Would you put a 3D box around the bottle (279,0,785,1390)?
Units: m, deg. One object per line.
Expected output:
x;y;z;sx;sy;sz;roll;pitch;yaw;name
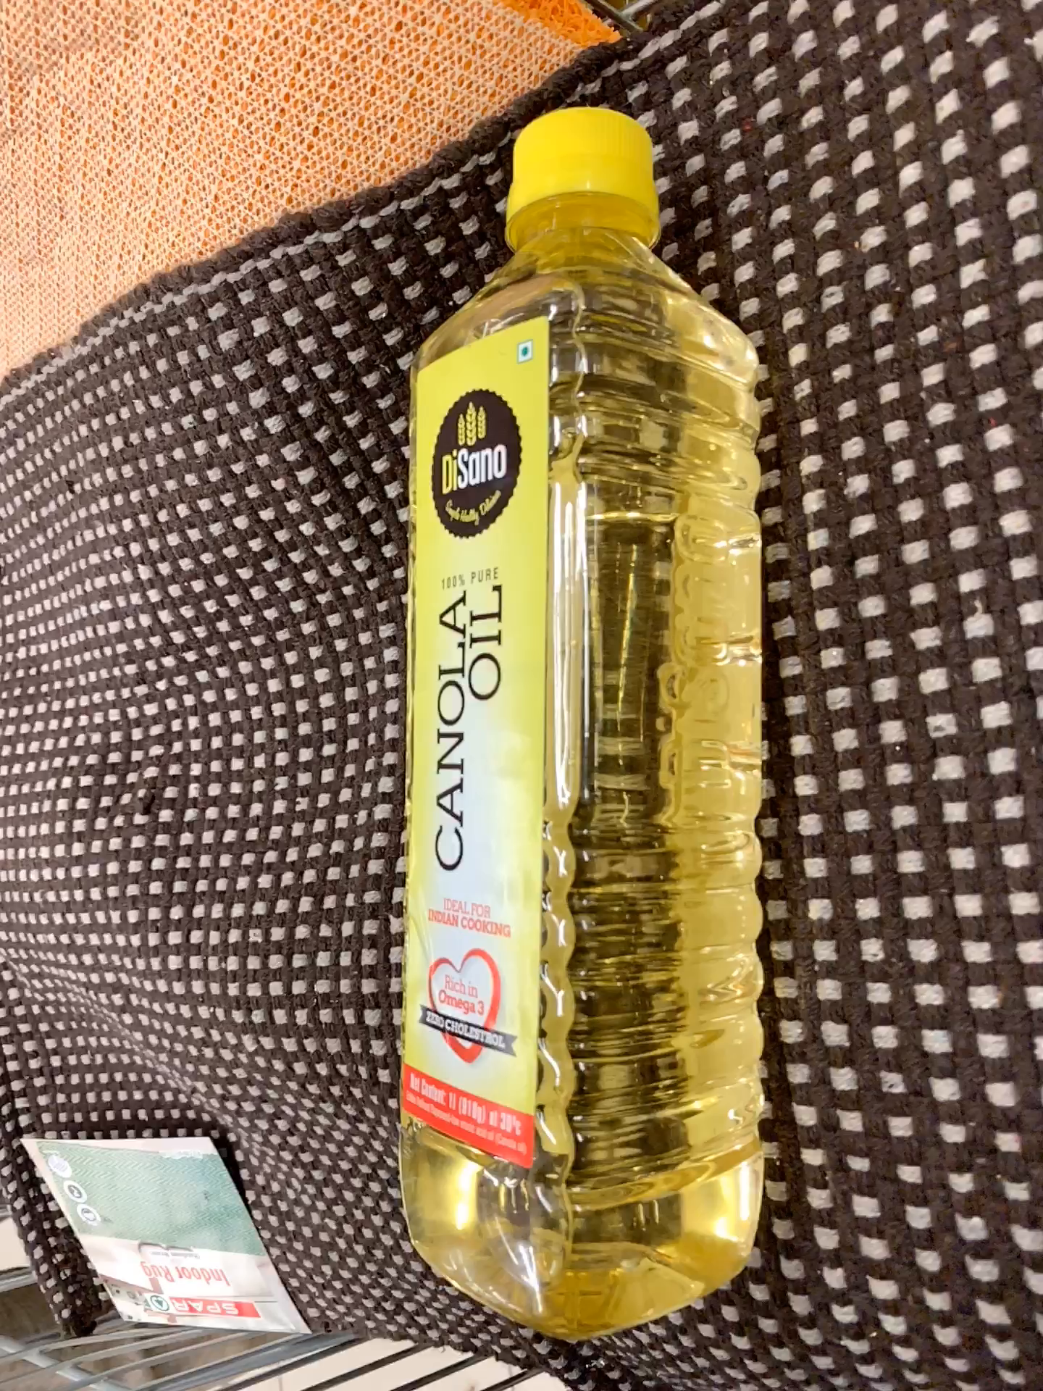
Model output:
0.002;-0.015;0.211;0.070;0.060;0.250;-2;85;51;bottle
